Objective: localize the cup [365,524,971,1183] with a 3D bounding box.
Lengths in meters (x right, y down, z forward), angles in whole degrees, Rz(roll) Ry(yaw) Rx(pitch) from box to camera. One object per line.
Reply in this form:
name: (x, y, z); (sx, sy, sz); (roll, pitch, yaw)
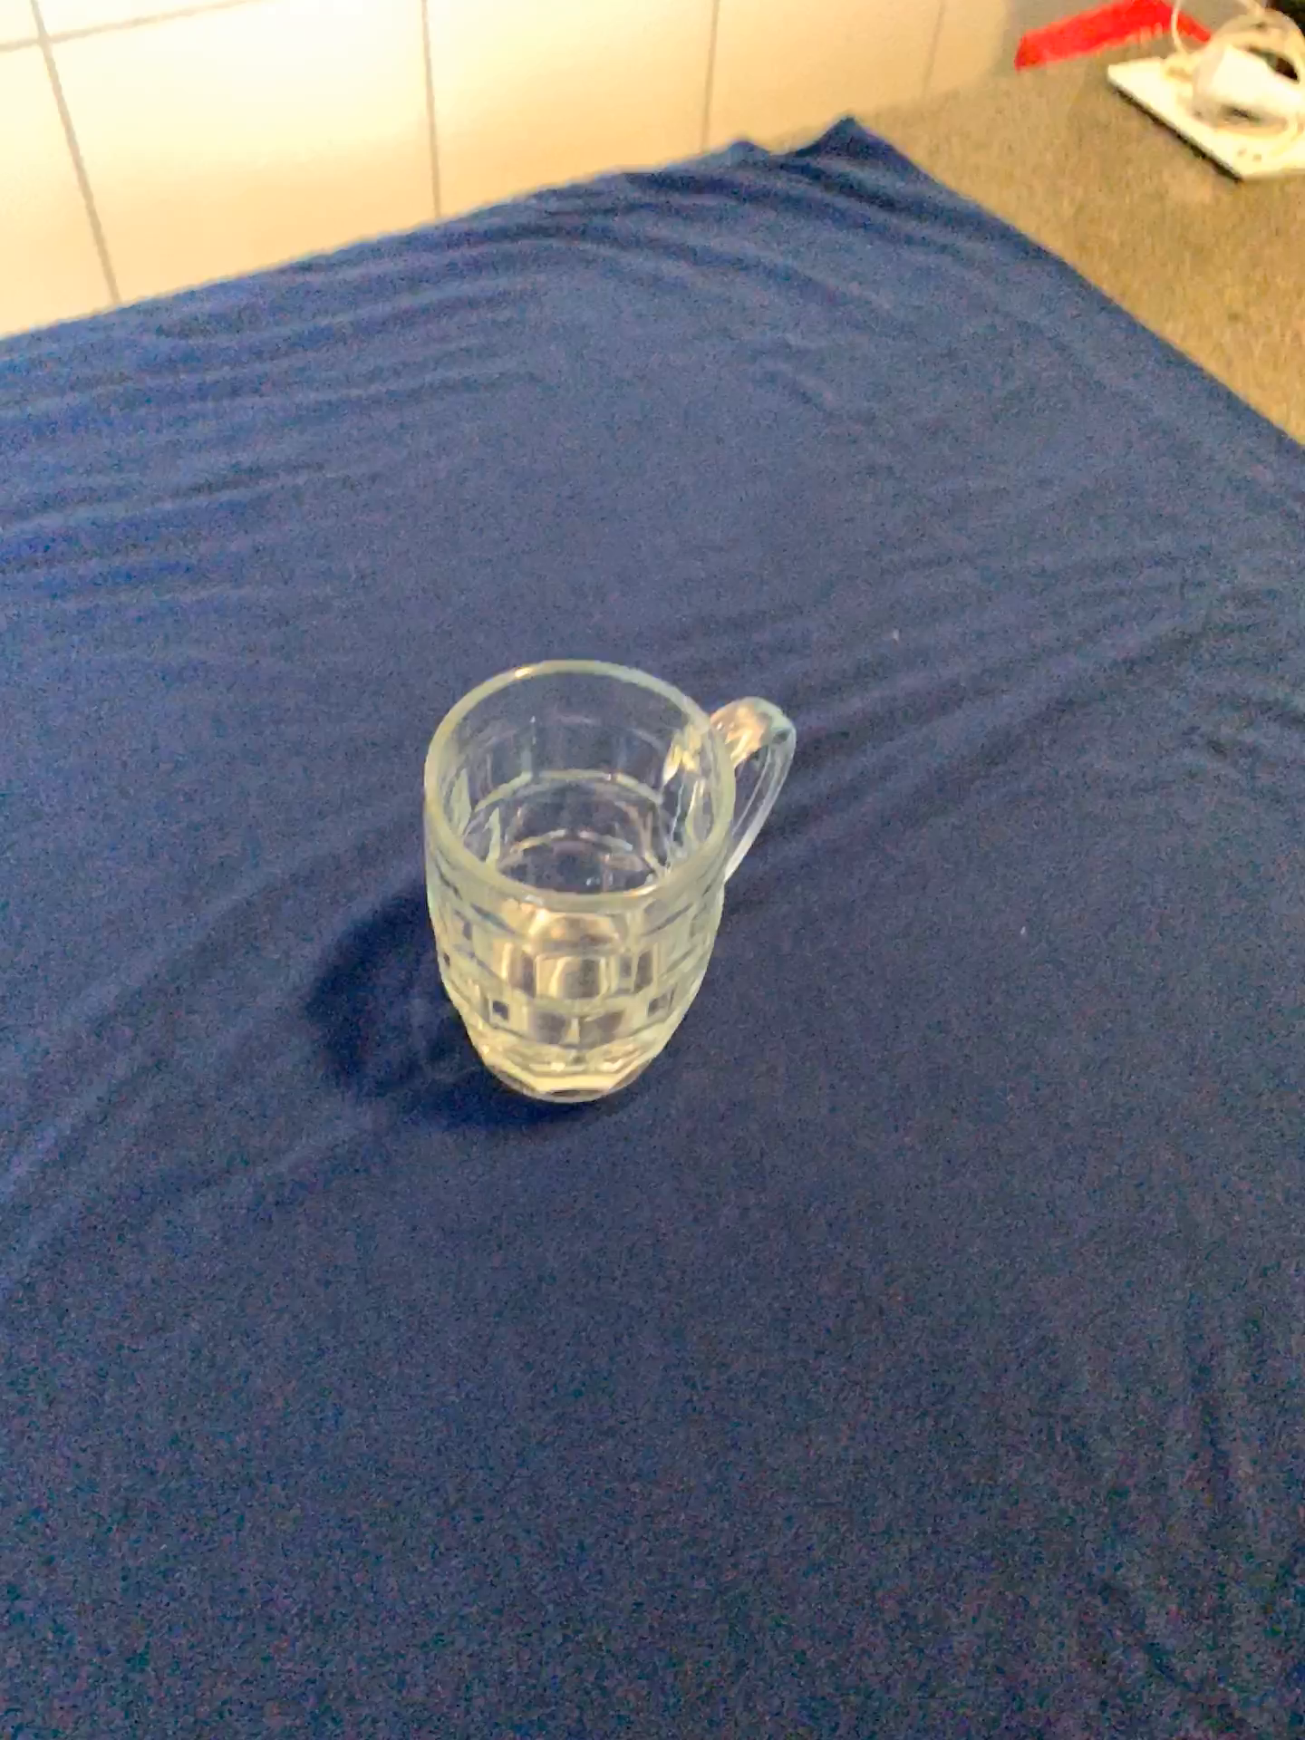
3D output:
cup: (0.002, -0.004, 0.359); (0.120, 0.110, 0.080); (-34, 63, -26)
